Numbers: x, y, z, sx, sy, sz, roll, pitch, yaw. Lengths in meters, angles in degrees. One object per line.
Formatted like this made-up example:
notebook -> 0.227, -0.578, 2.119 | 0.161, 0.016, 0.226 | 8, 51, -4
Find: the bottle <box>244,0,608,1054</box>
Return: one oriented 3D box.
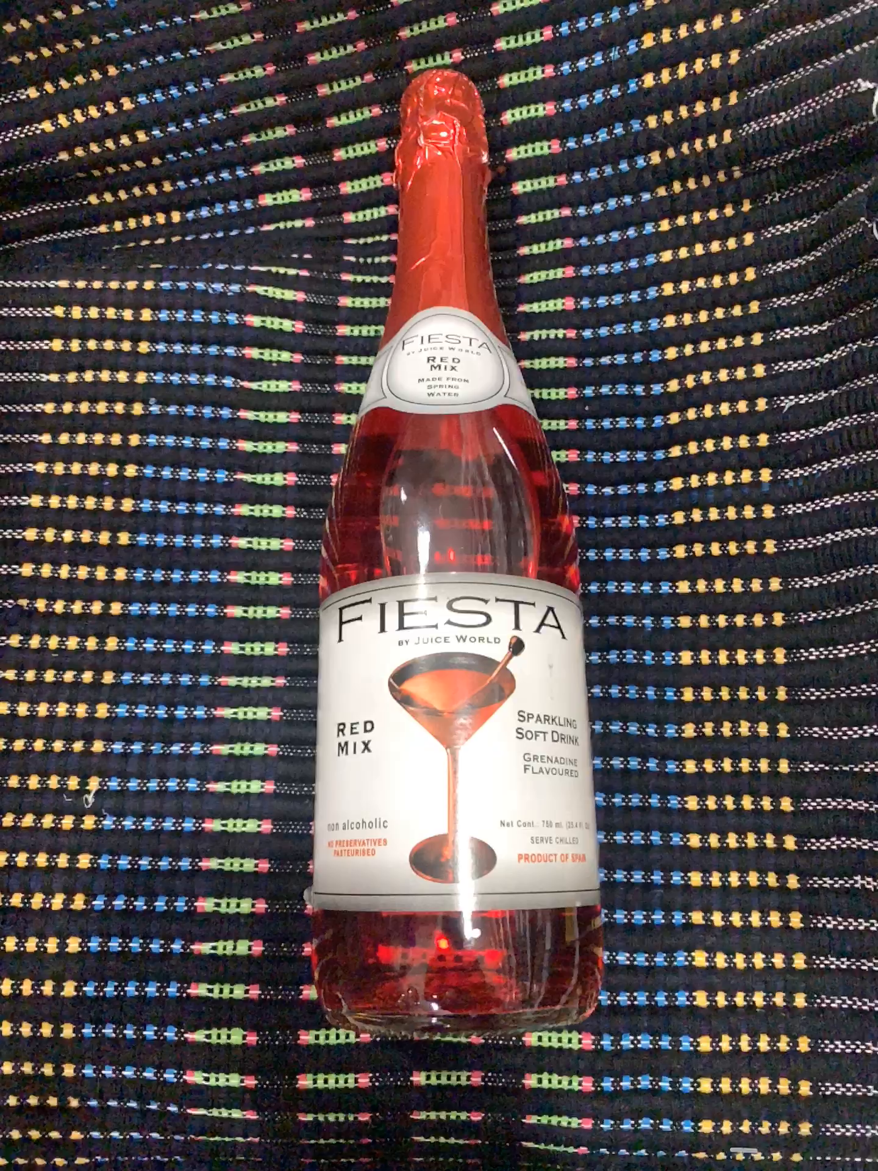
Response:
bottle -> -0.007, -0.035, 0.281 | 0.080, 0.070, 0.310 | -3, 72, 2
